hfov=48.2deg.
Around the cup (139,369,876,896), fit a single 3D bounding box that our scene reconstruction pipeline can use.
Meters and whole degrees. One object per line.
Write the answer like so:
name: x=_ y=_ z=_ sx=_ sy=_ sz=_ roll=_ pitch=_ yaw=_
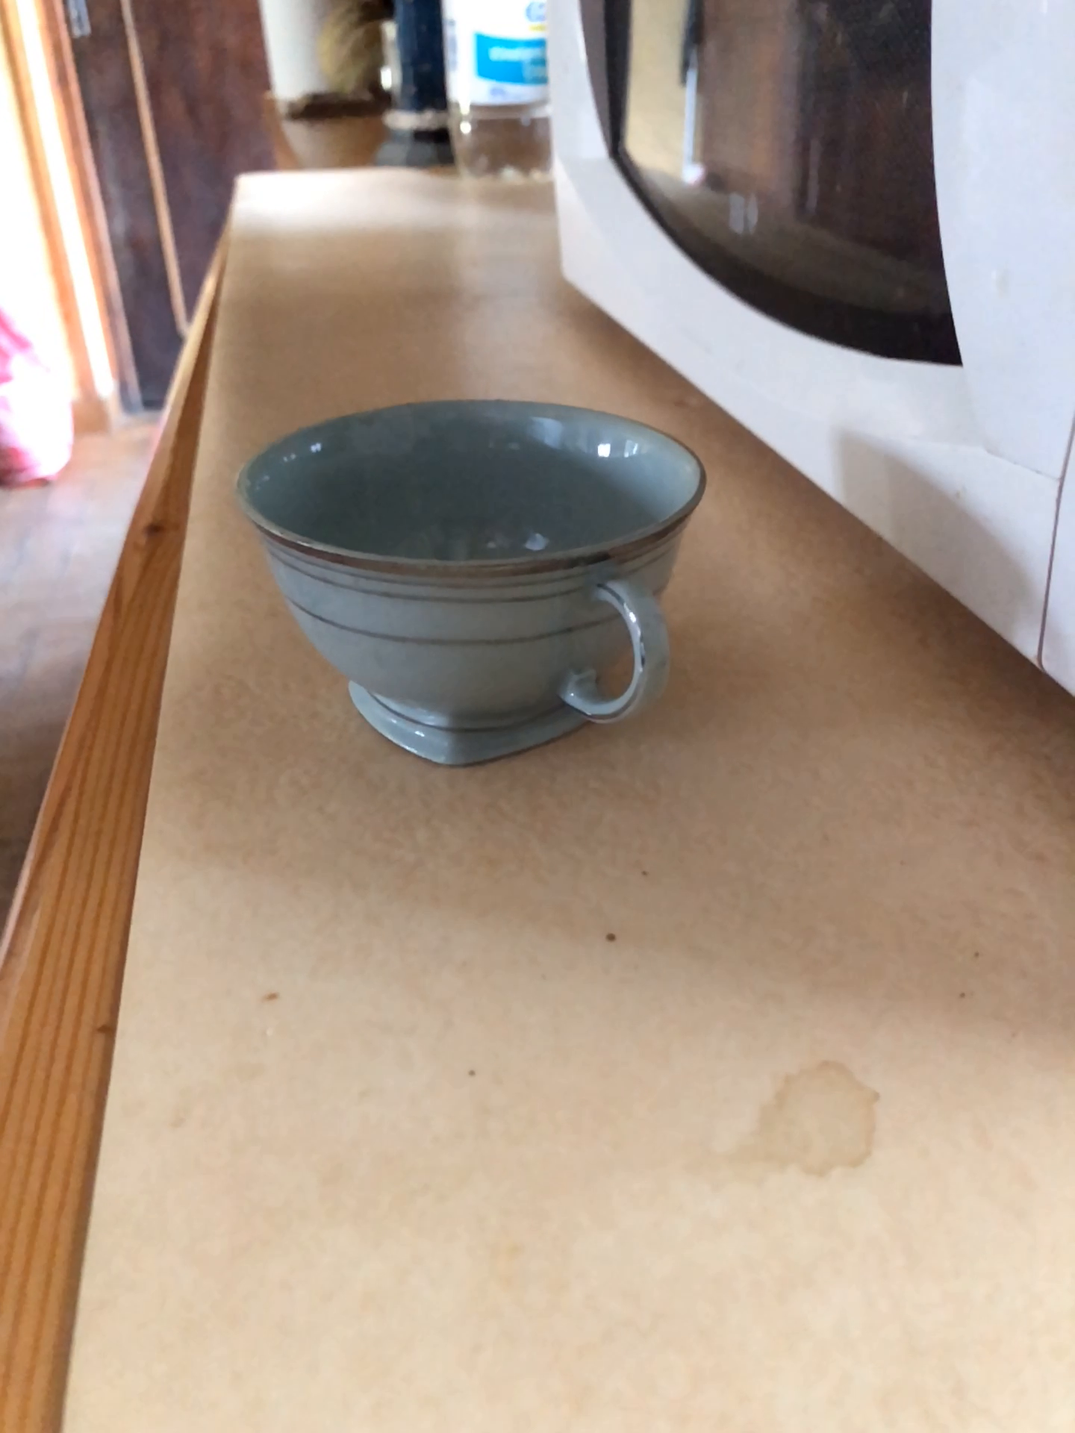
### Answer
cup: x=-0.008 y=-0.025 z=0.213 sx=0.080 sy=0.040 sz=0.100 roll=-24 pitch=37 yaw=-33
